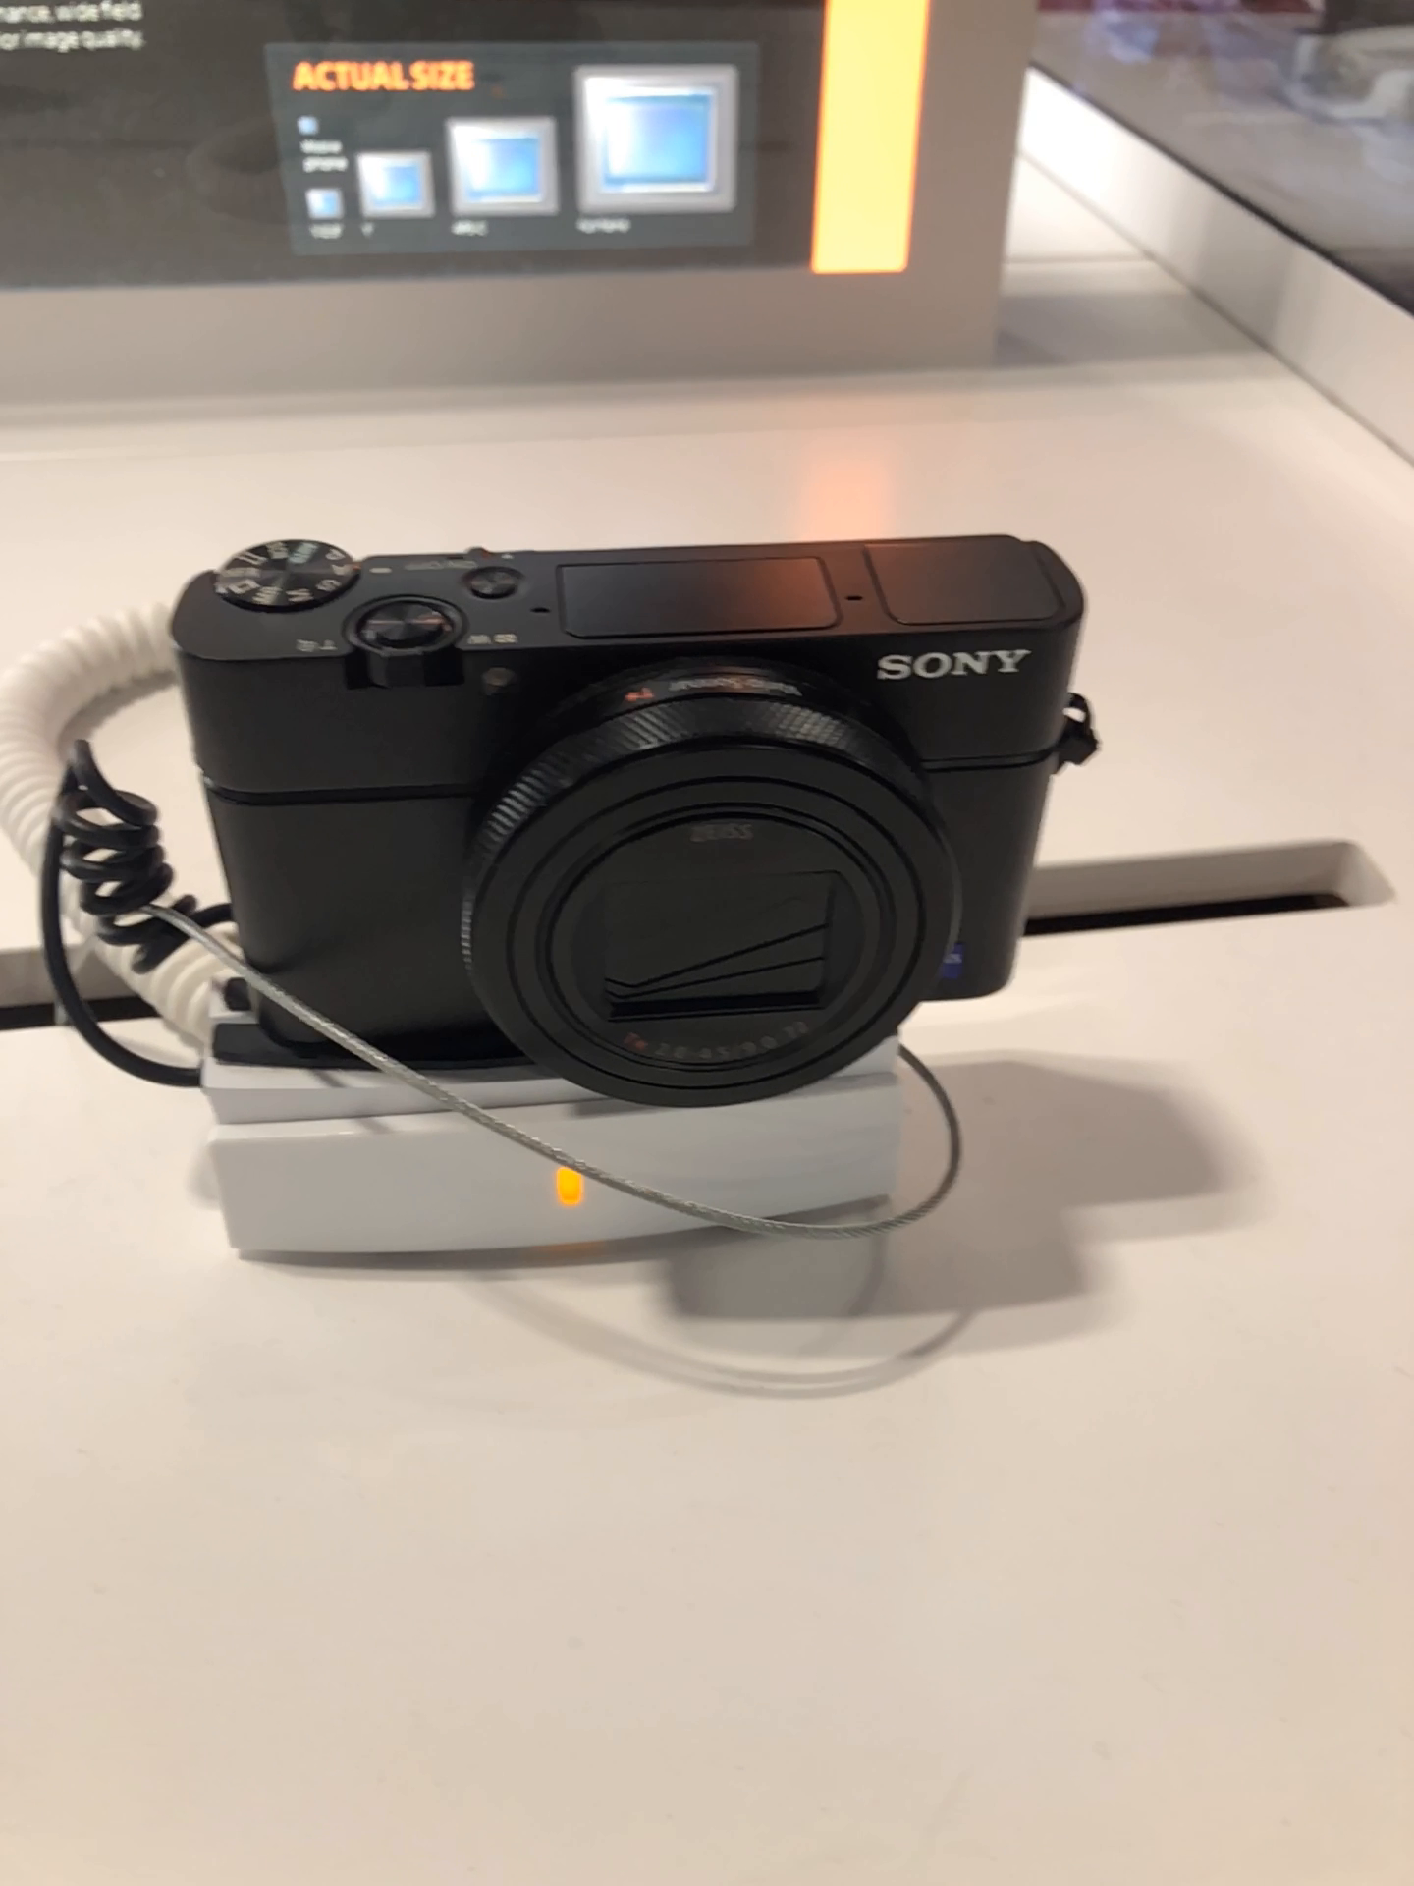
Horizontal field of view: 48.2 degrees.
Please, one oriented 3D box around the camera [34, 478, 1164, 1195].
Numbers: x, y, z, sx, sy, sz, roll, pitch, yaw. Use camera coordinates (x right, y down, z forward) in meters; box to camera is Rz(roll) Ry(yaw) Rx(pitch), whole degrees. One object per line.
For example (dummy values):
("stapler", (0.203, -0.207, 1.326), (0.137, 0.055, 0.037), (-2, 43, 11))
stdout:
("camera", (-0.012, -0.013, 0.191), (0.110, 0.070, 0.040), (-4, 39, -6))
